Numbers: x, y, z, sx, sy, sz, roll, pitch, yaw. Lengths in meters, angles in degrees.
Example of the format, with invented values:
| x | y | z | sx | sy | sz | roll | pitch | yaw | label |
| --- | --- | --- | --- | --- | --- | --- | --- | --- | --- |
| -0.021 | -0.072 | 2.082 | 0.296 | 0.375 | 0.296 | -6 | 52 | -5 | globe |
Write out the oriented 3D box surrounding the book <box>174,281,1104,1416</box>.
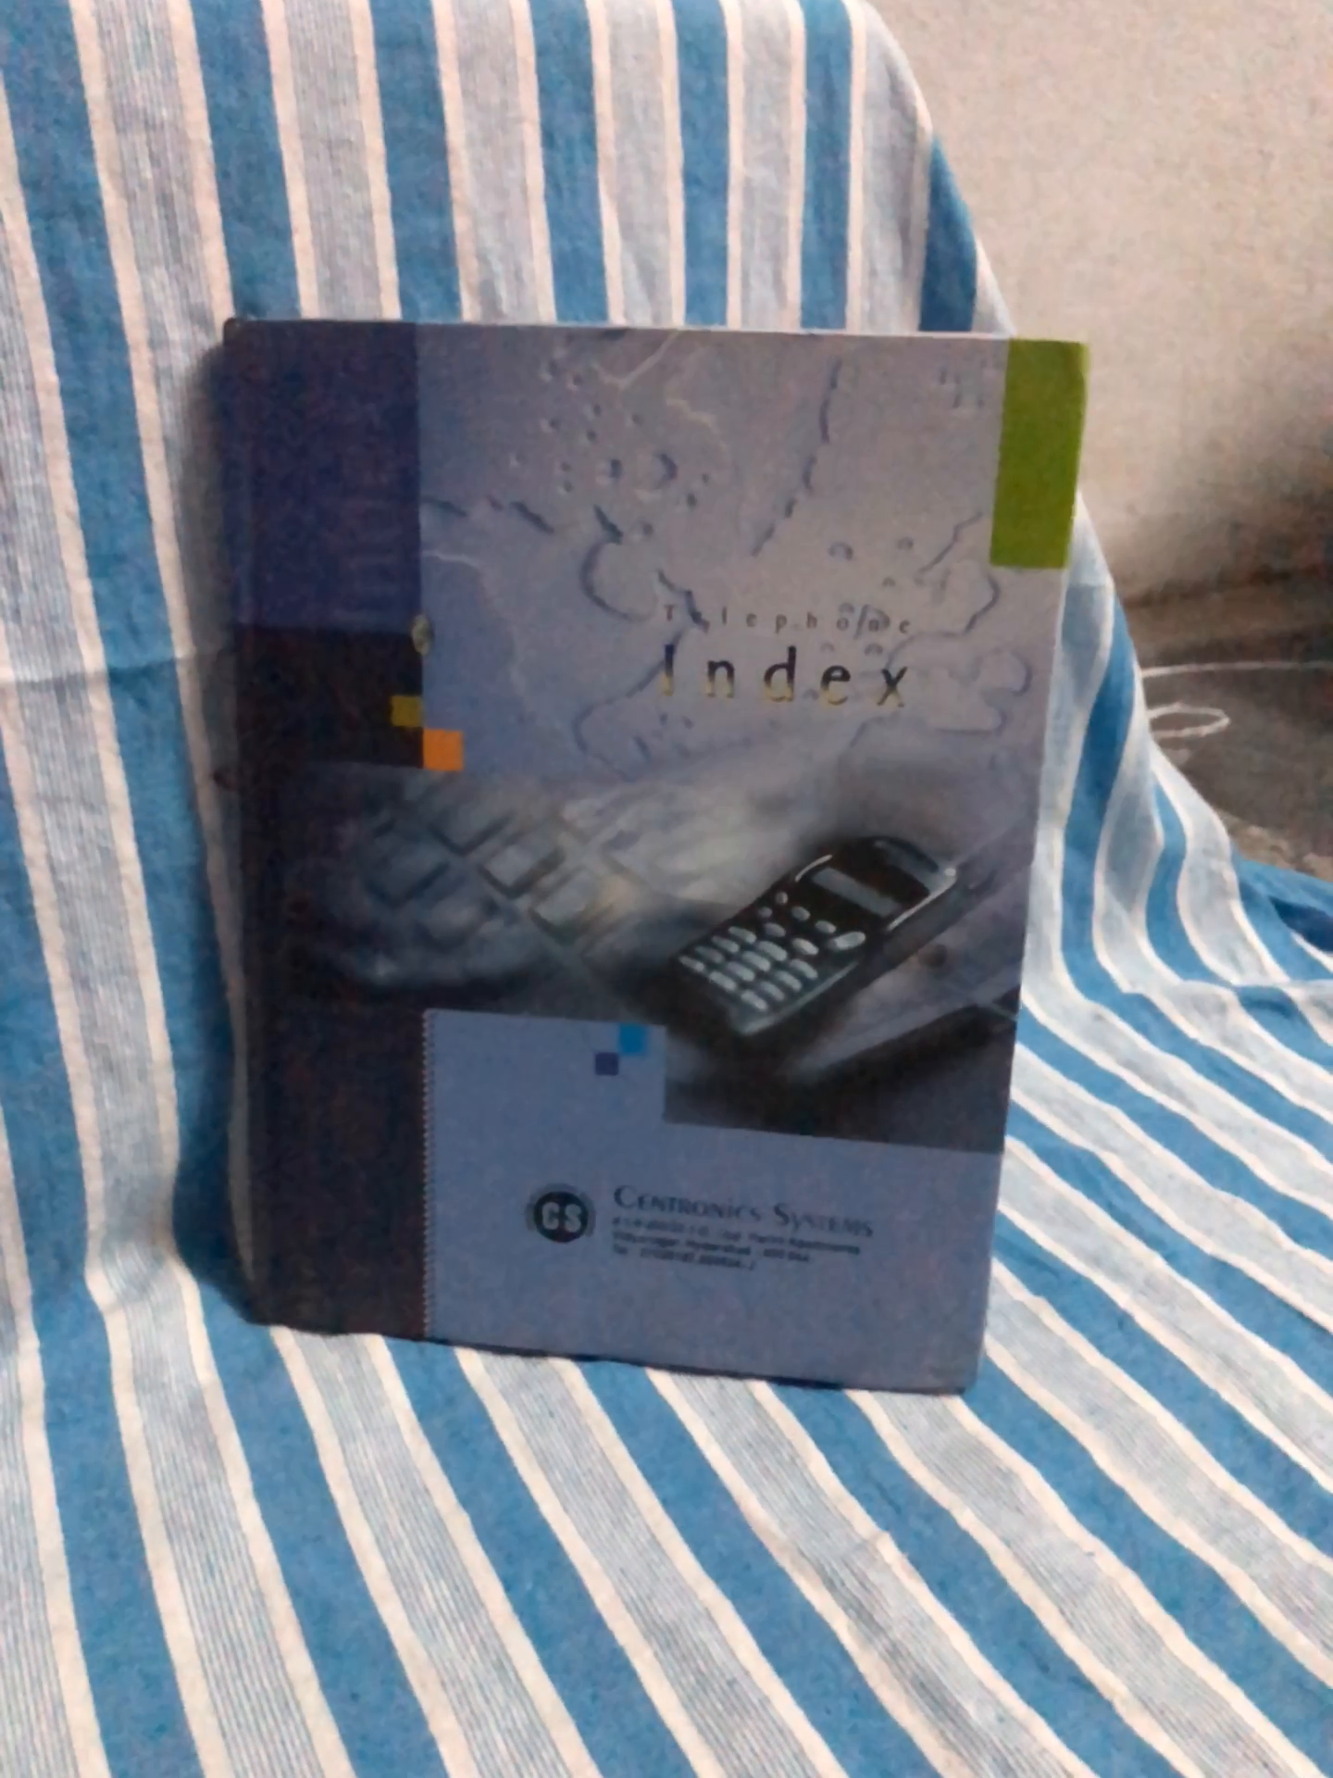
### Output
| x | y | z | sx | sy | sz | roll | pitch | yaw | label |
| --- | --- | --- | --- | --- | --- | --- | --- | --- | --- |
| -0.013 | -0.003 | 0.349 | 0.193 | 0.253 | 0.023 | 4 | 16 | 6 | book |
